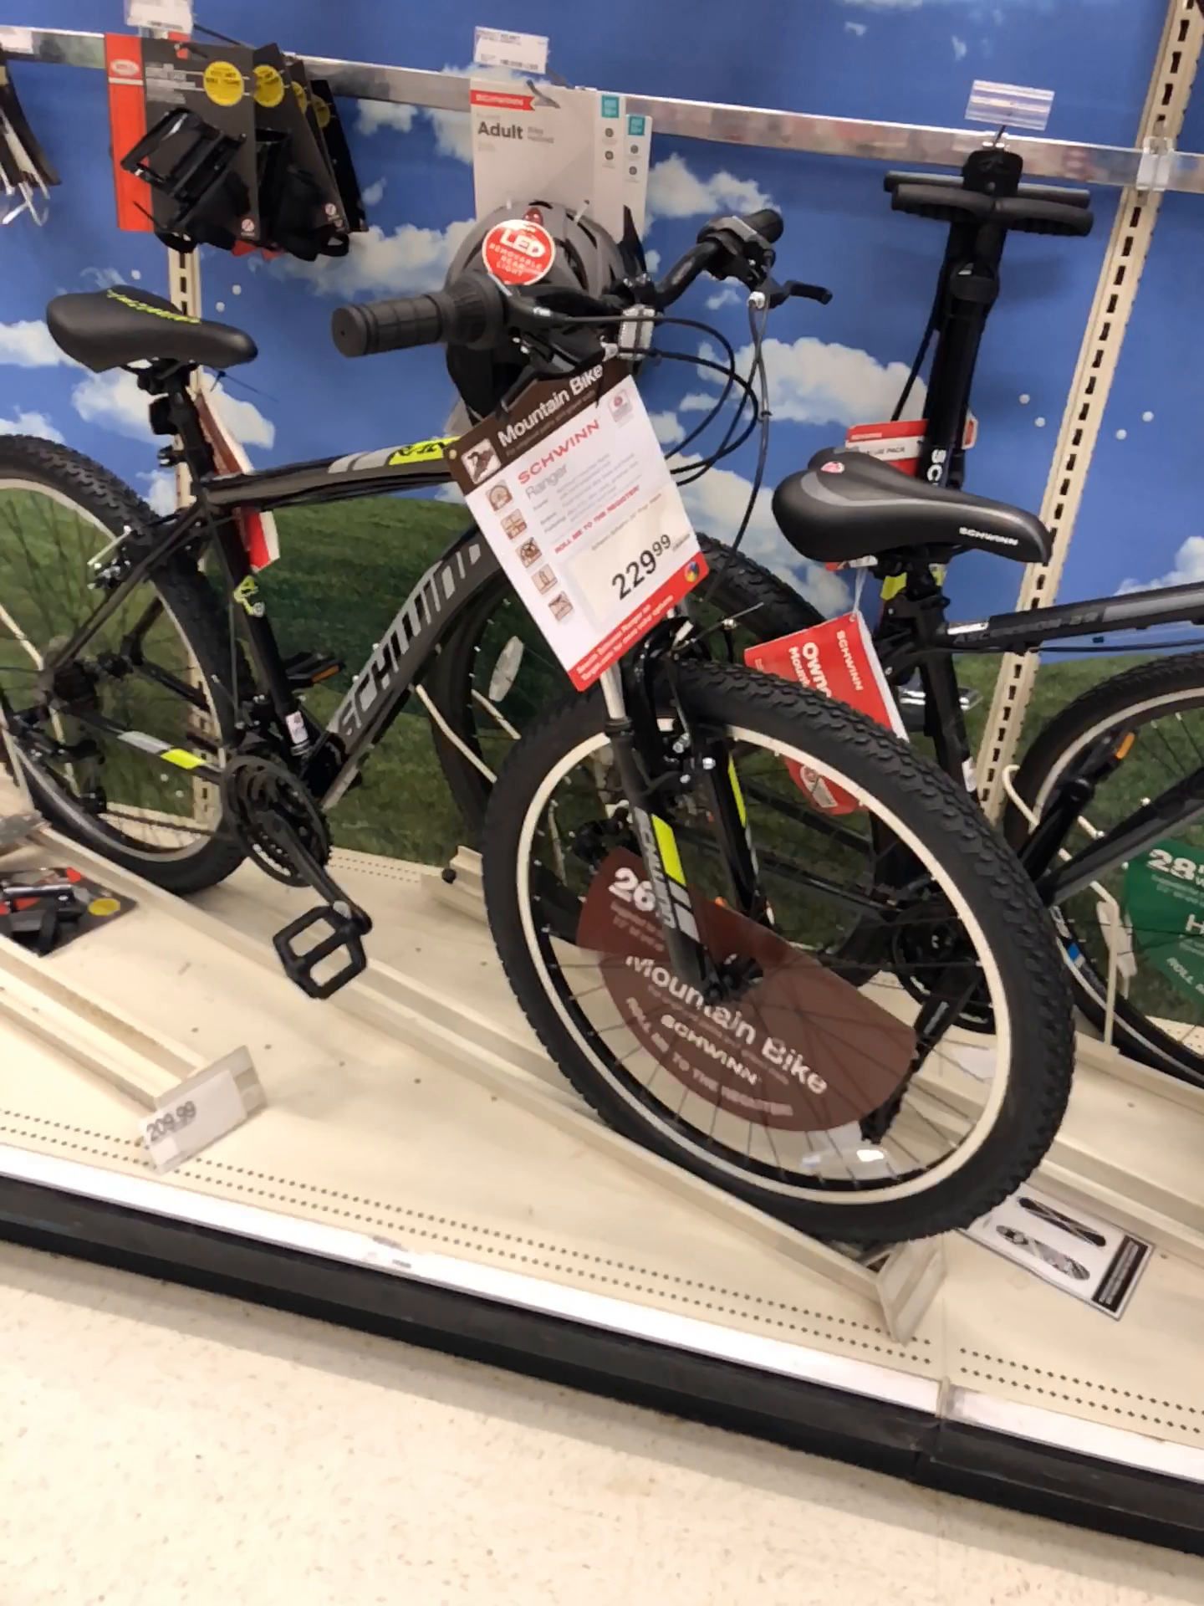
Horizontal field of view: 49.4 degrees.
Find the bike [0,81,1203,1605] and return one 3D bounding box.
[{"bbox_3d":[-0.314,-0.071,1.393,1.654,1.002,0.601,24,31,28],"label":"bike"}]
